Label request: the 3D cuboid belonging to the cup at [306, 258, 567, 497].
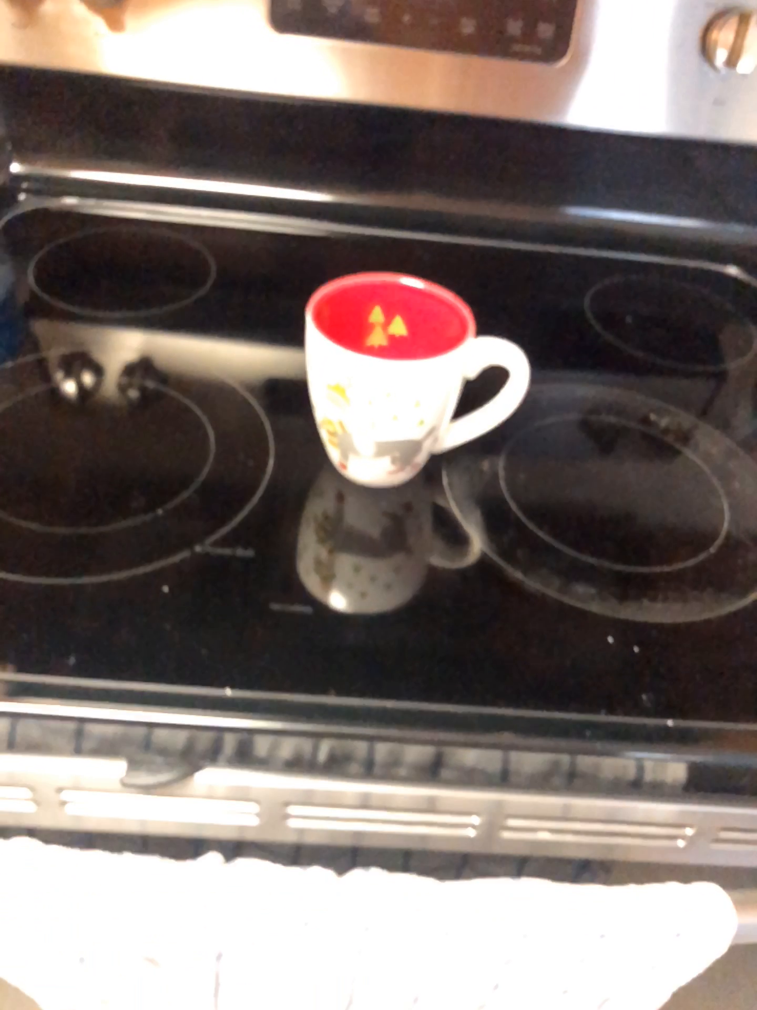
[{"bbox_3d":[0.029,-0.080,0.536,0.140,0.100,0.100,3,43,-5],"label":"cup"}]
